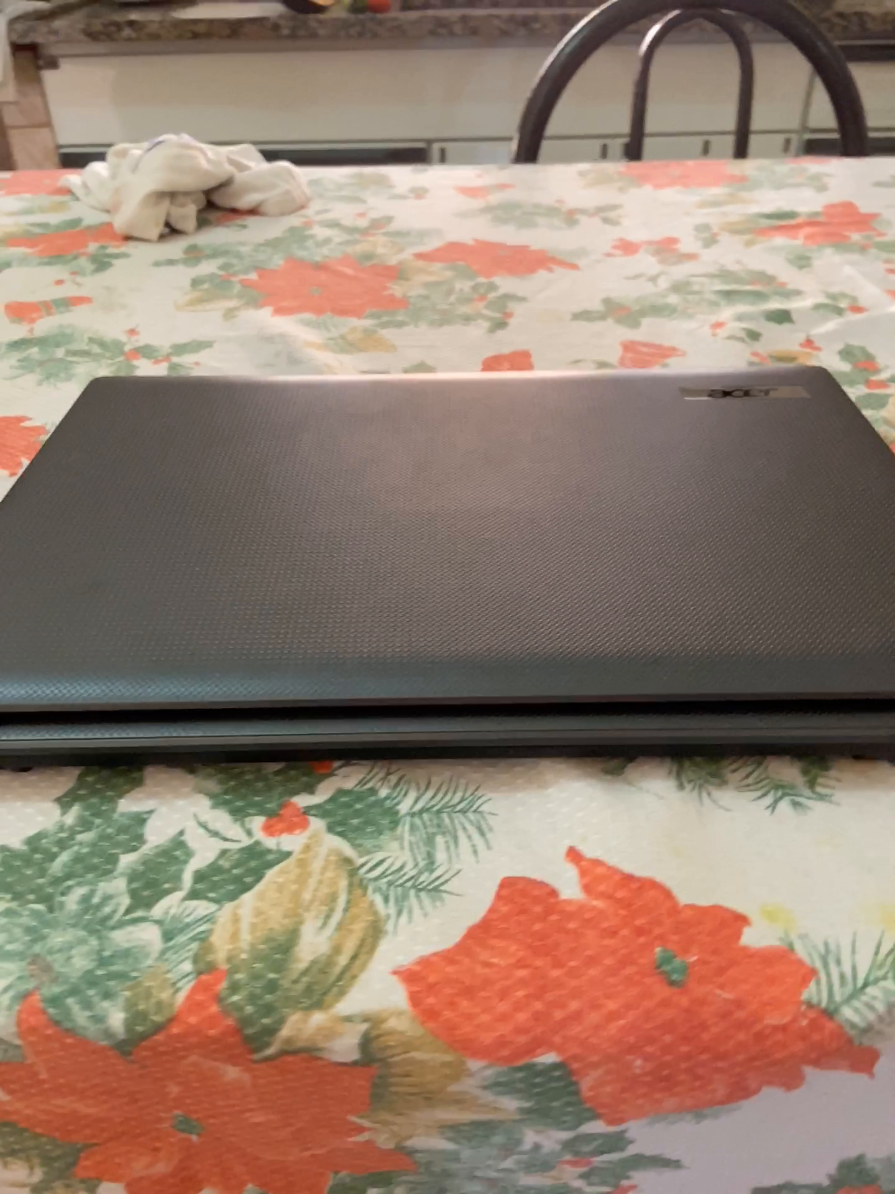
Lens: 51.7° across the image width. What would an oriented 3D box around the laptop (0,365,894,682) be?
[{"bbox_3d":[-0.022,-0.044,0.367,0.350,0.001,0.224,0,38,0],"label":"laptop"}]
